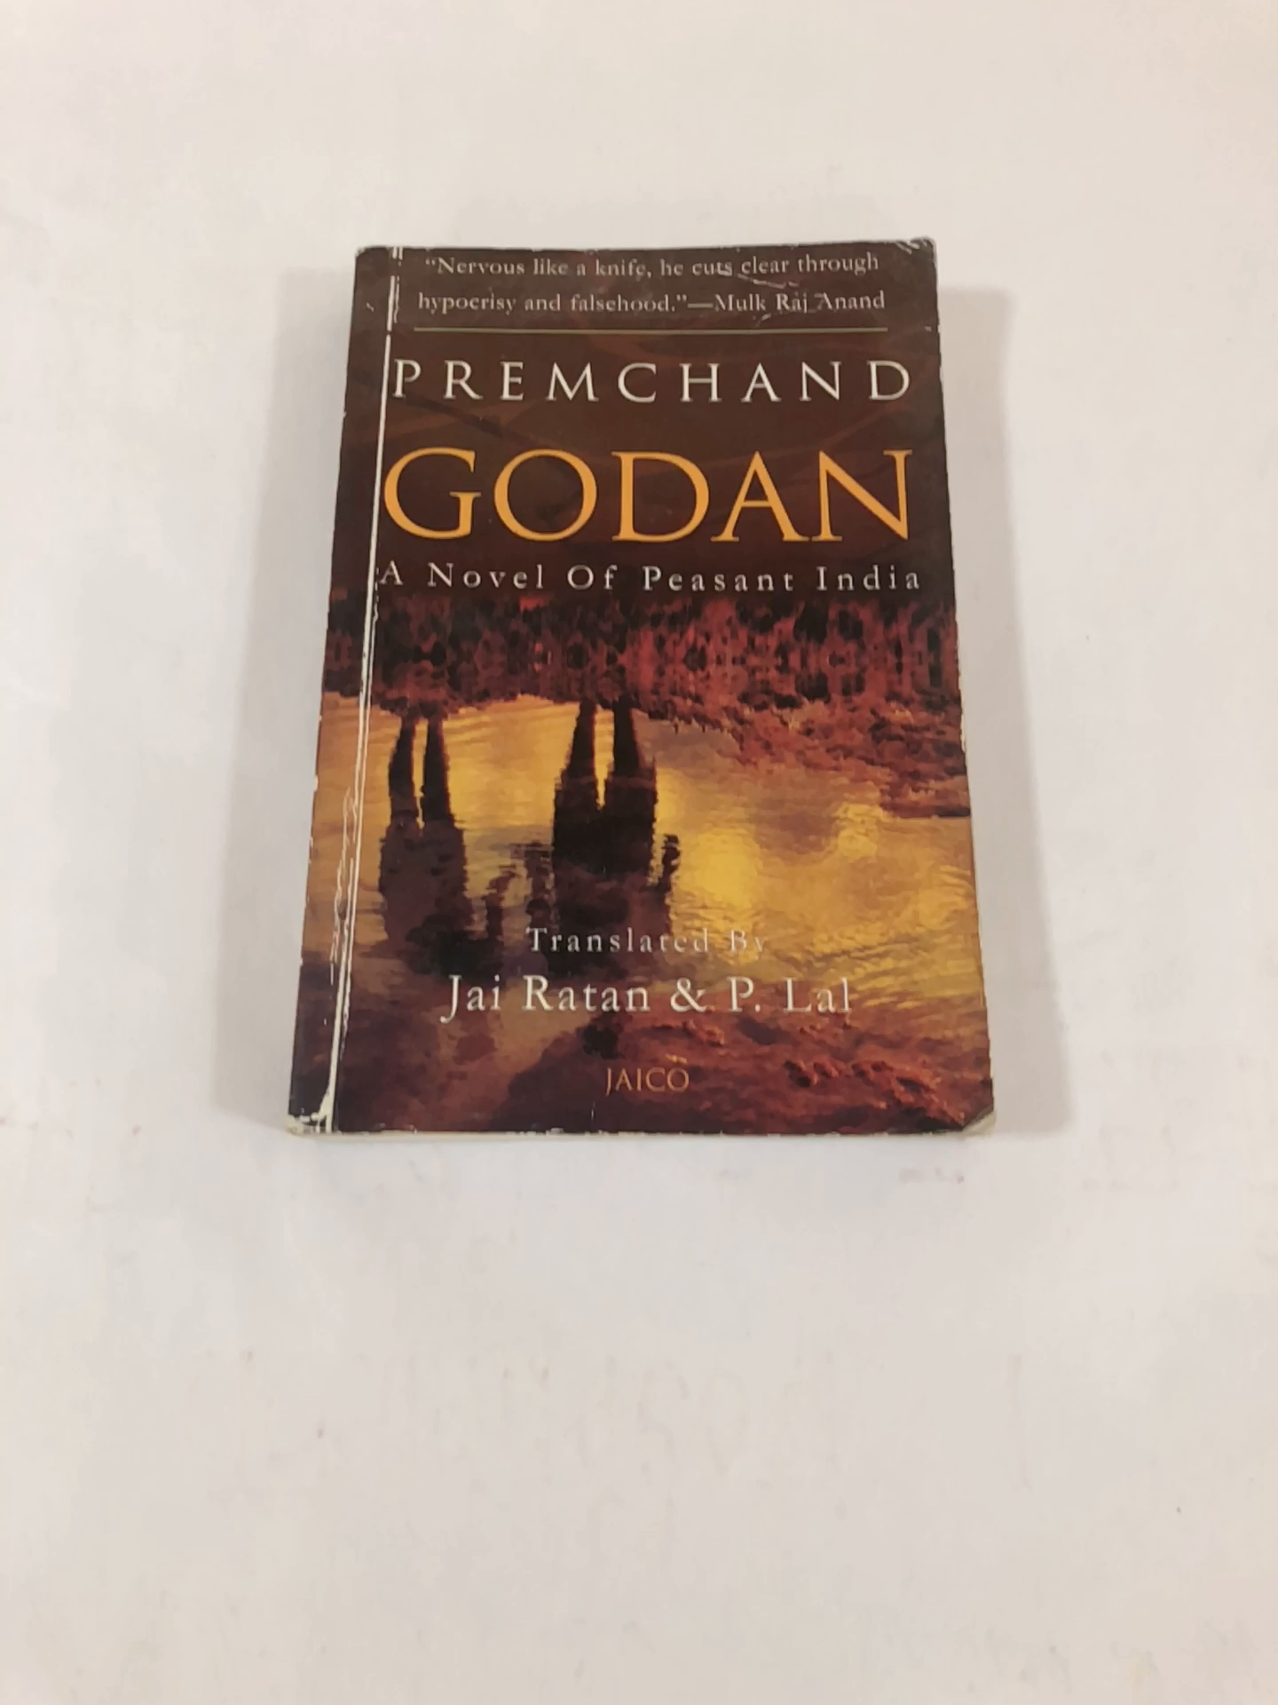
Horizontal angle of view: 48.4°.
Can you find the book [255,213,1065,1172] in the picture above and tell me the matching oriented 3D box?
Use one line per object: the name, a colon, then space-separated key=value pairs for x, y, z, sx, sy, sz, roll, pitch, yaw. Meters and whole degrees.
book: x=0.007 y=-0.041 z=0.310 sx=0.150 sy=0.030 sz=0.210 roll=2 pitch=72 yaw=1
